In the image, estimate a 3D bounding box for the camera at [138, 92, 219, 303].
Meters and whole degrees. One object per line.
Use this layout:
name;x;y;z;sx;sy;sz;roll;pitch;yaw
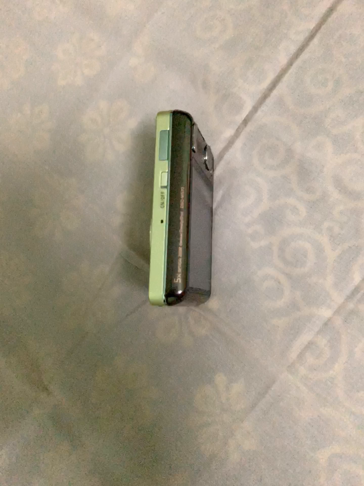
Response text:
camera;0.002;-0.016;0.186;0.021;0.060;0.088;0;80;15
